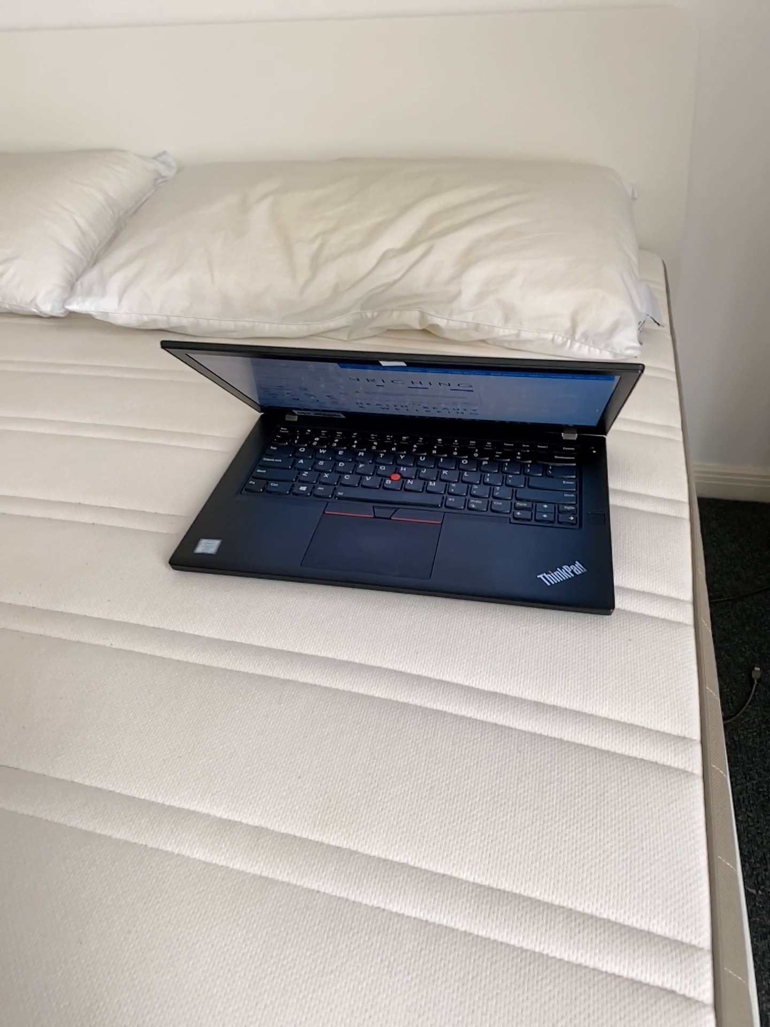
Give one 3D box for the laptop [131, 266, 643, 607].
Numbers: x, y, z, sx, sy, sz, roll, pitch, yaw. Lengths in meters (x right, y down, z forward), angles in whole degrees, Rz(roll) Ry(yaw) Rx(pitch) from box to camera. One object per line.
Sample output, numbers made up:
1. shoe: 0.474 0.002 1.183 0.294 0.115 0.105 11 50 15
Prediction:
1. laptop: 0.018 -0.075 0.618 0.324 0.151 0.221 4 38 10
